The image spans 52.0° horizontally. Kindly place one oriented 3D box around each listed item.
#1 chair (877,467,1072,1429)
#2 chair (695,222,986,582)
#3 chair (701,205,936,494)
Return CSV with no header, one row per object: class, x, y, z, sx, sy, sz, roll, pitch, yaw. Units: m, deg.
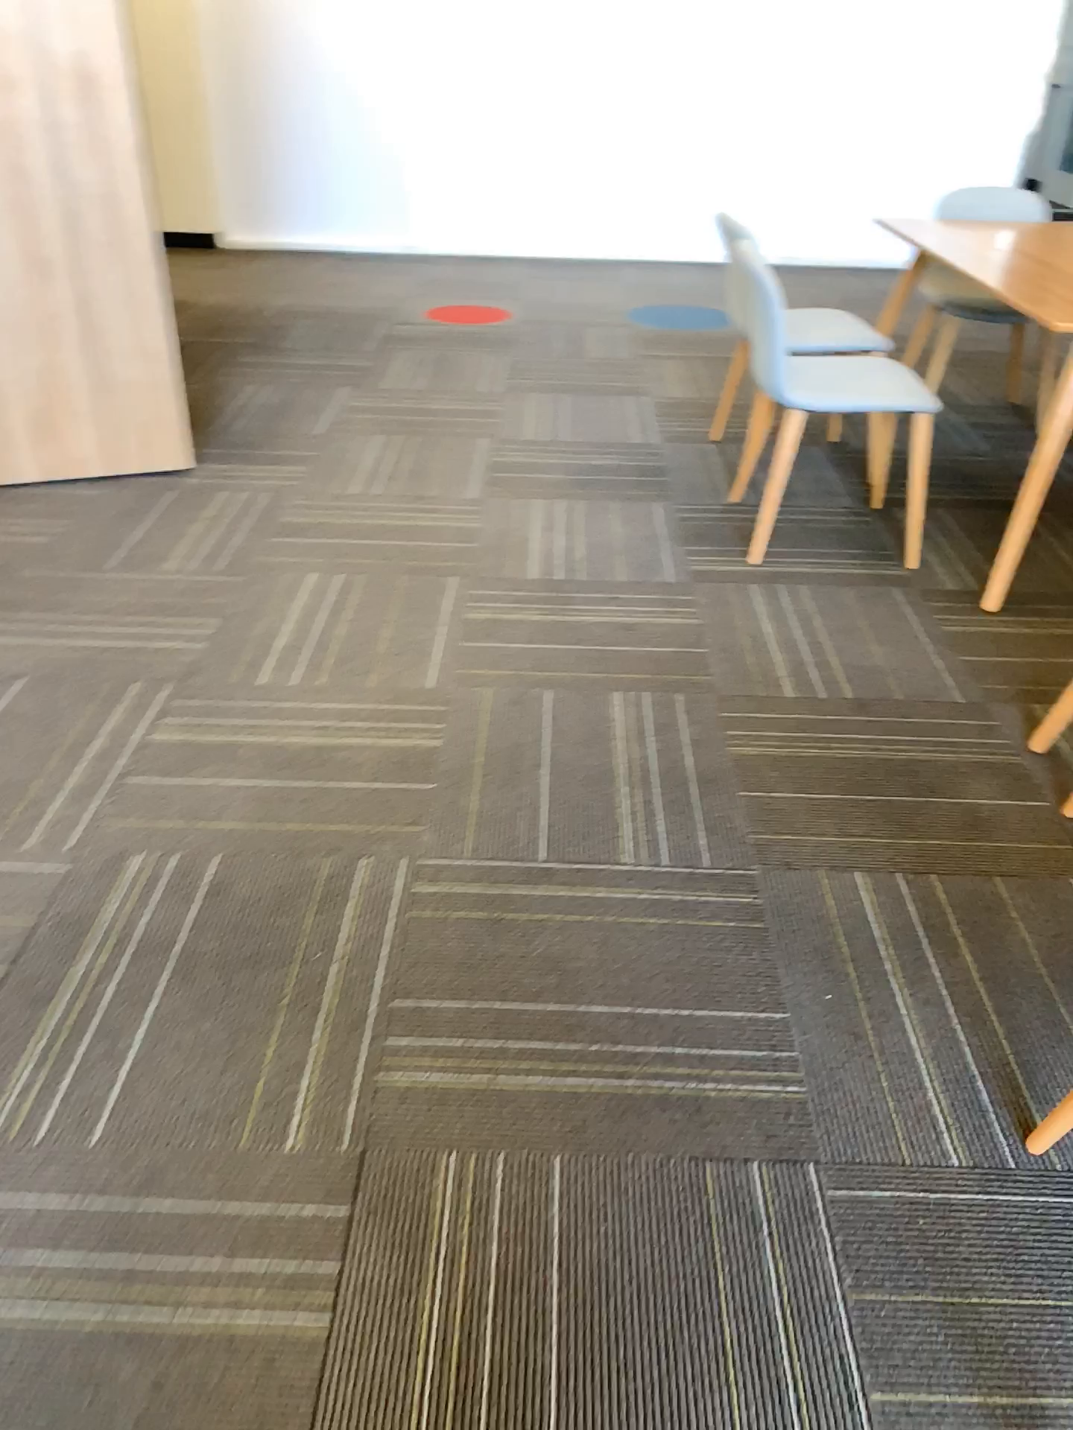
chair,0.760,0.313,1.071,0.631,0.815,0.764,11,33,16
chair,0.771,-0.869,3.021,0.570,0.795,0.594,4,31,3
chair,0.879,-1.207,3.614,0.530,0.775,0.574,2,31,0
